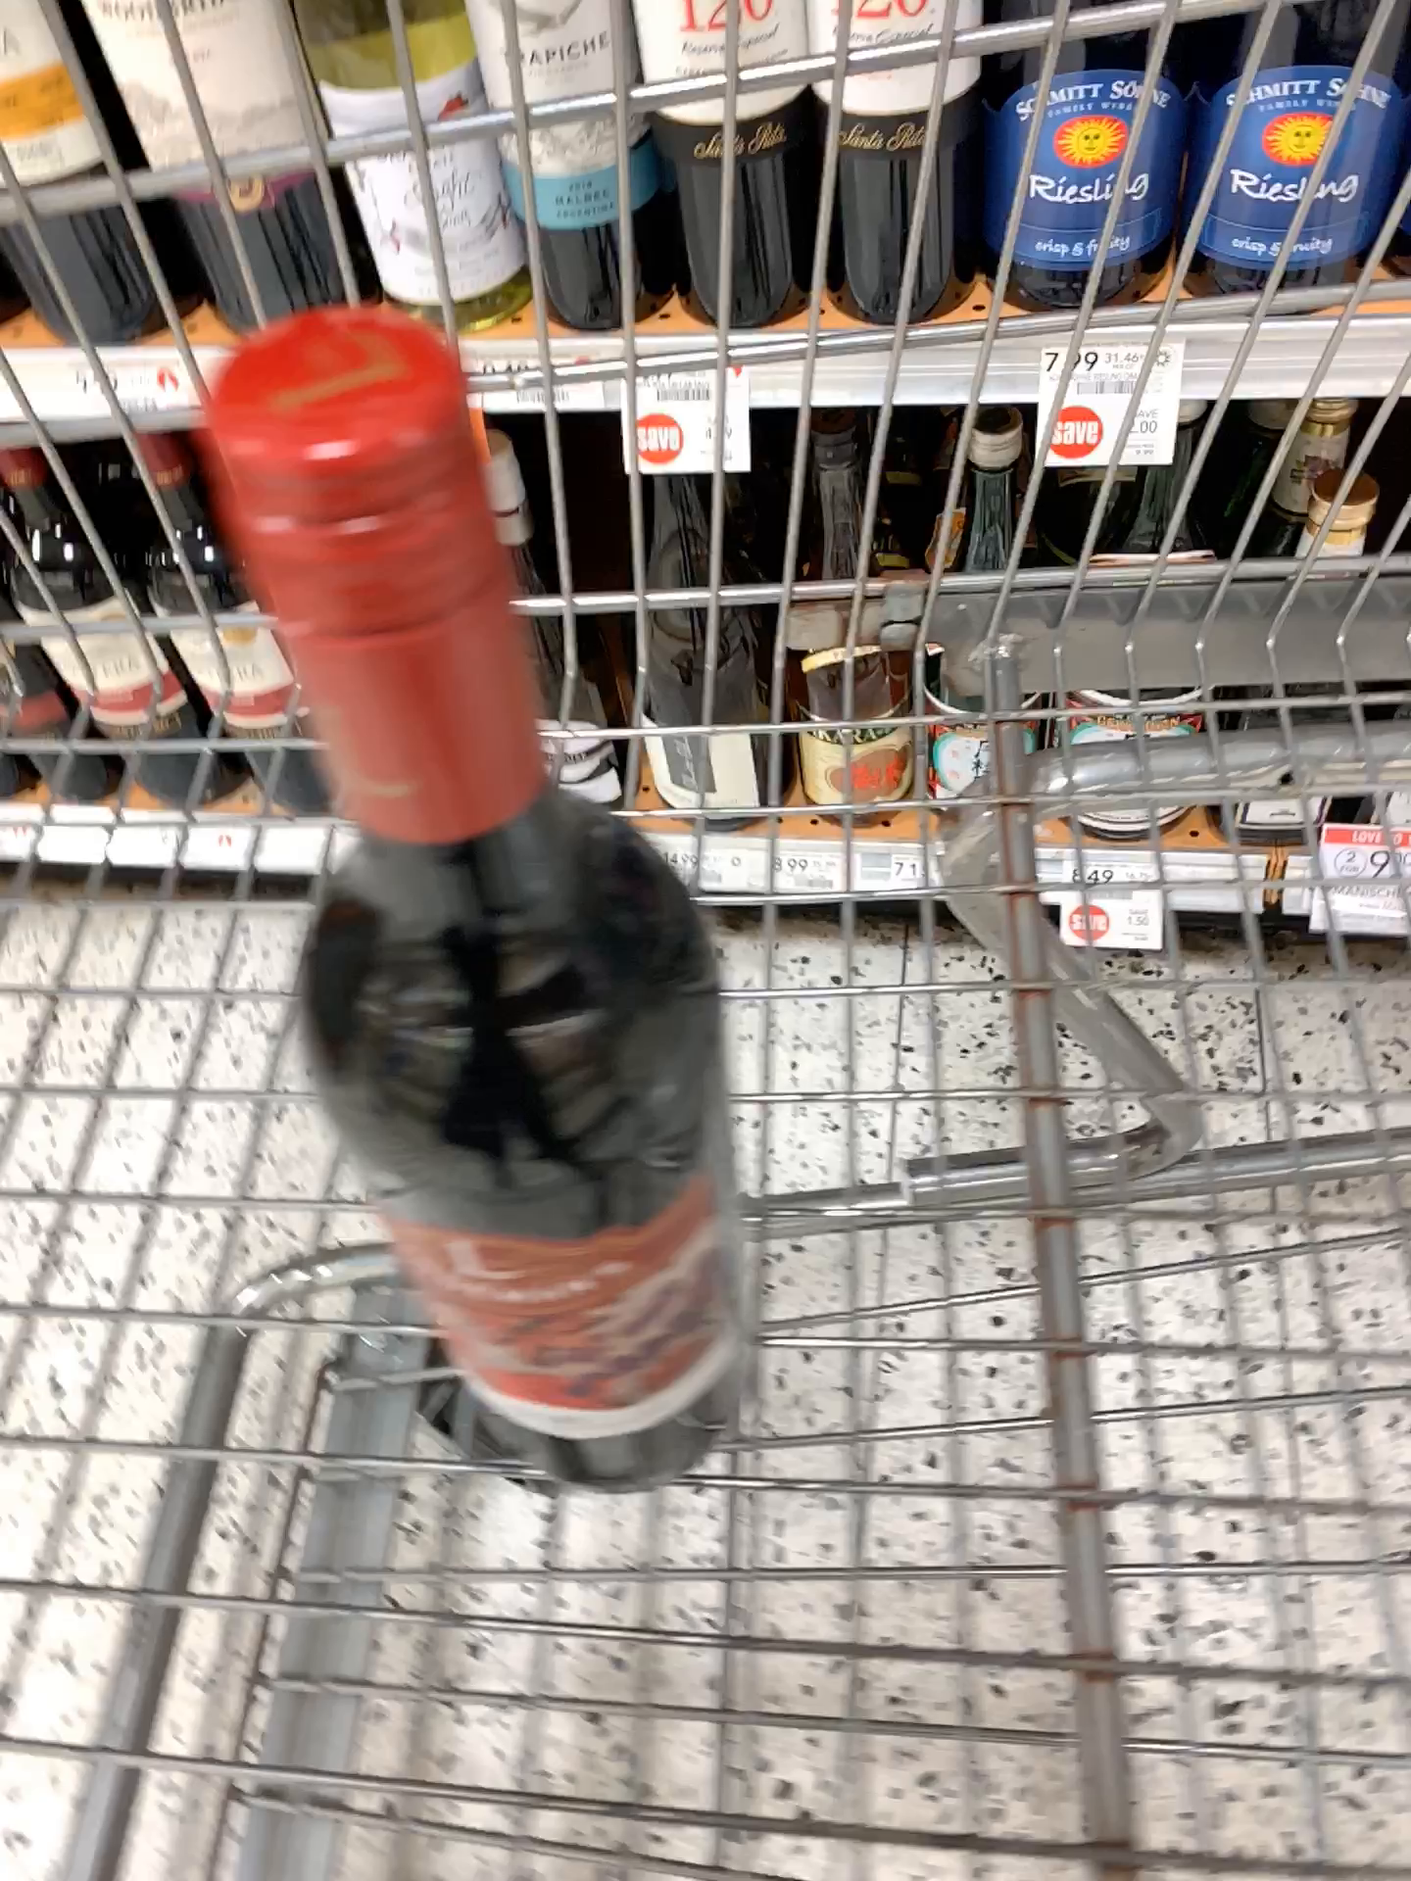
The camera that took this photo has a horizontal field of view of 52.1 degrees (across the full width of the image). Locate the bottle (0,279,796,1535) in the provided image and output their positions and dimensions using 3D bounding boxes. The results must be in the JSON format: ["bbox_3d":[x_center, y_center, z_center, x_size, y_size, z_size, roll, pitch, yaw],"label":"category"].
[{"bbox_3d":[-0.034,0.032,0.276,0.090,0.287,0.081,4,56,8],"label":"bottle"}]
